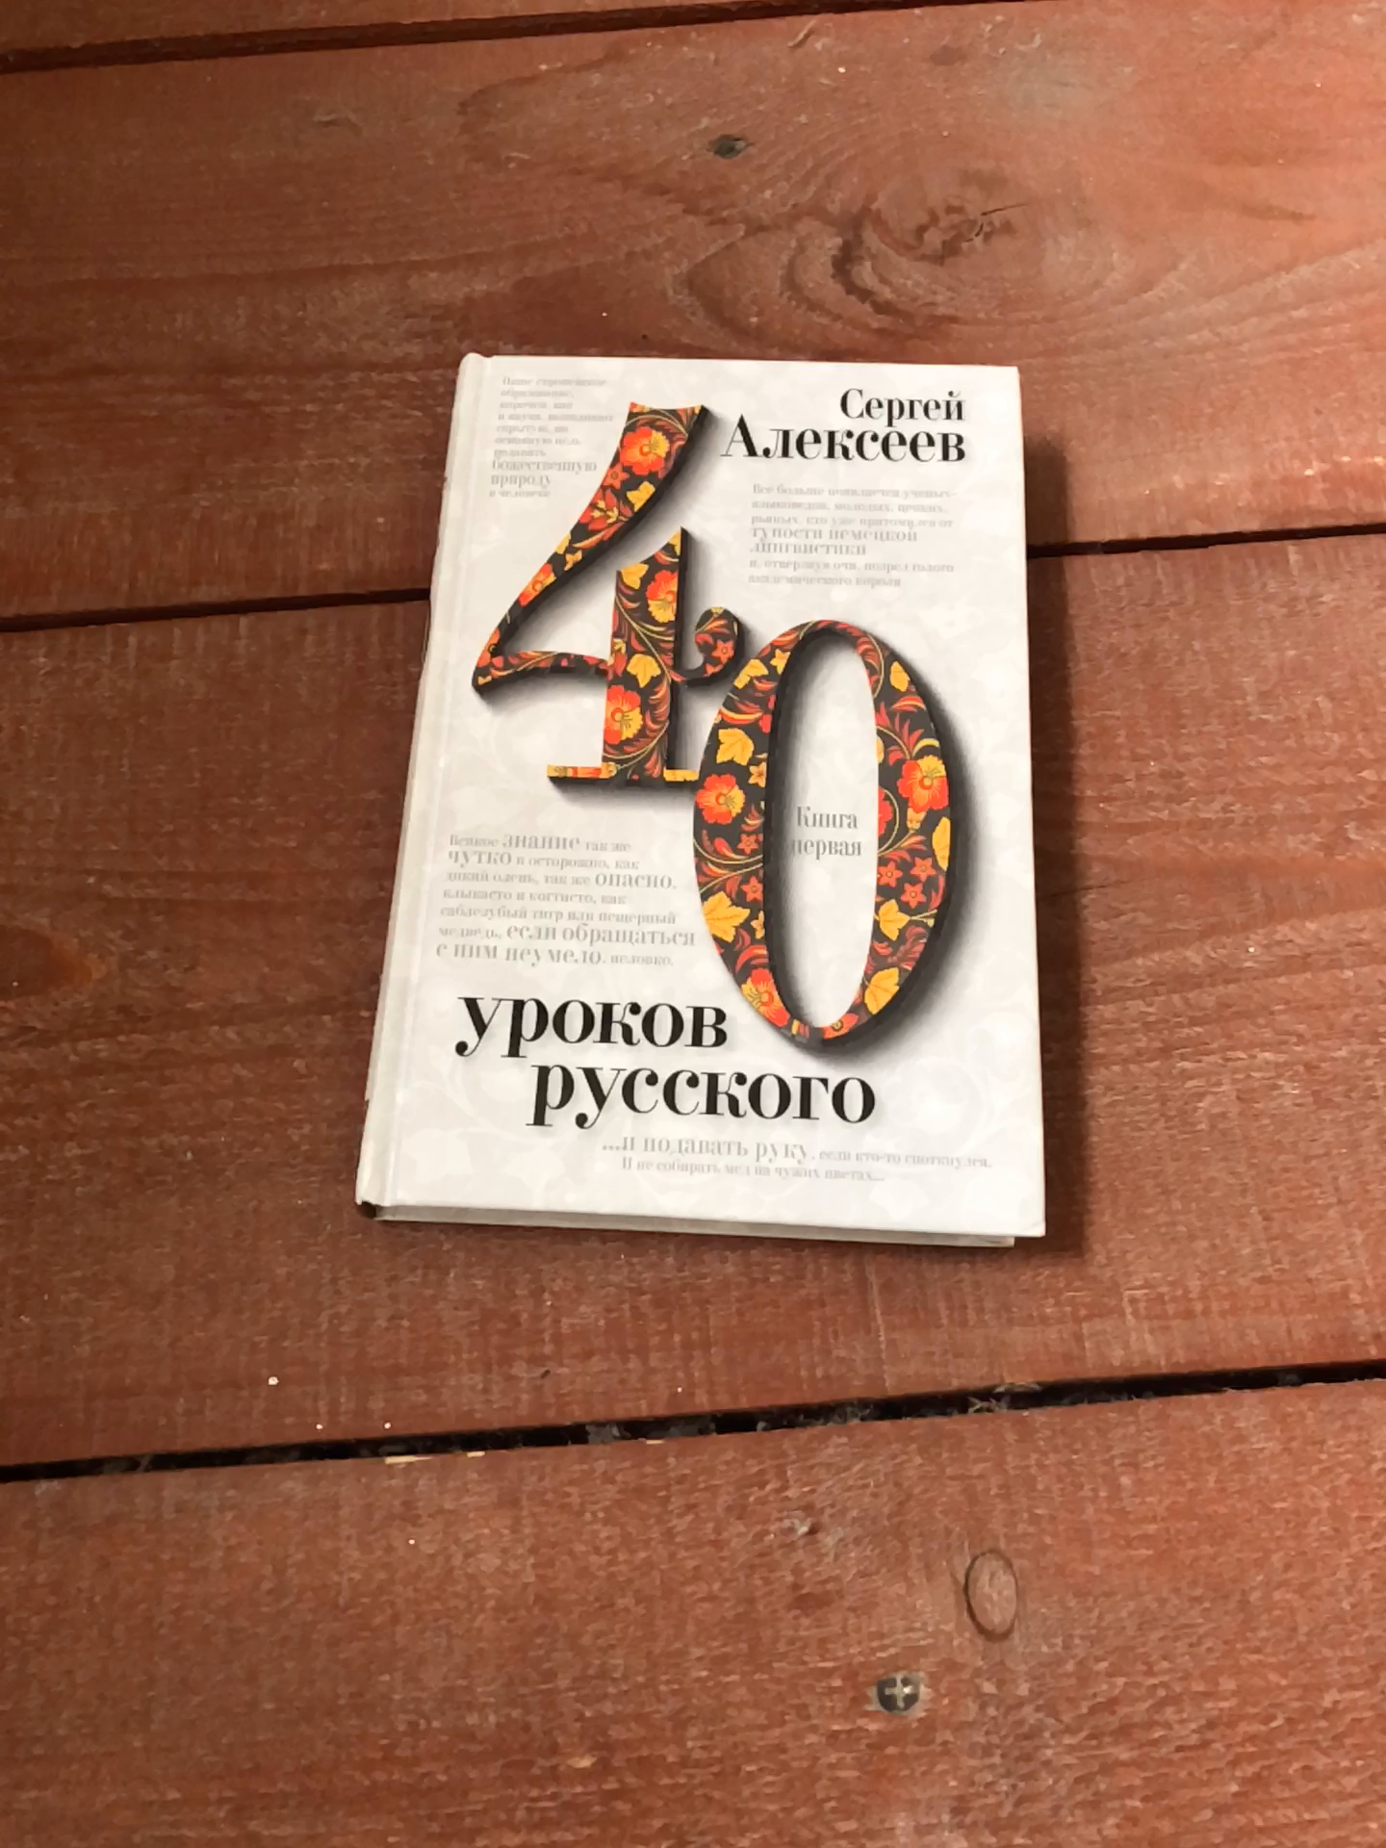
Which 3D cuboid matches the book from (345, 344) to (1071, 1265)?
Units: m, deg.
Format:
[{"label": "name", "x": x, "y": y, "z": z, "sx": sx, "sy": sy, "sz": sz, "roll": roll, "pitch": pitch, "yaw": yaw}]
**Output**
[{"label": "book", "x": 0.007, "y": -0.033, "z": 0.334, "sx": 0.135, "sy": 0.030, "sz": 0.200, "roll": 2, "pitch": 70, "yaw": 2}]
